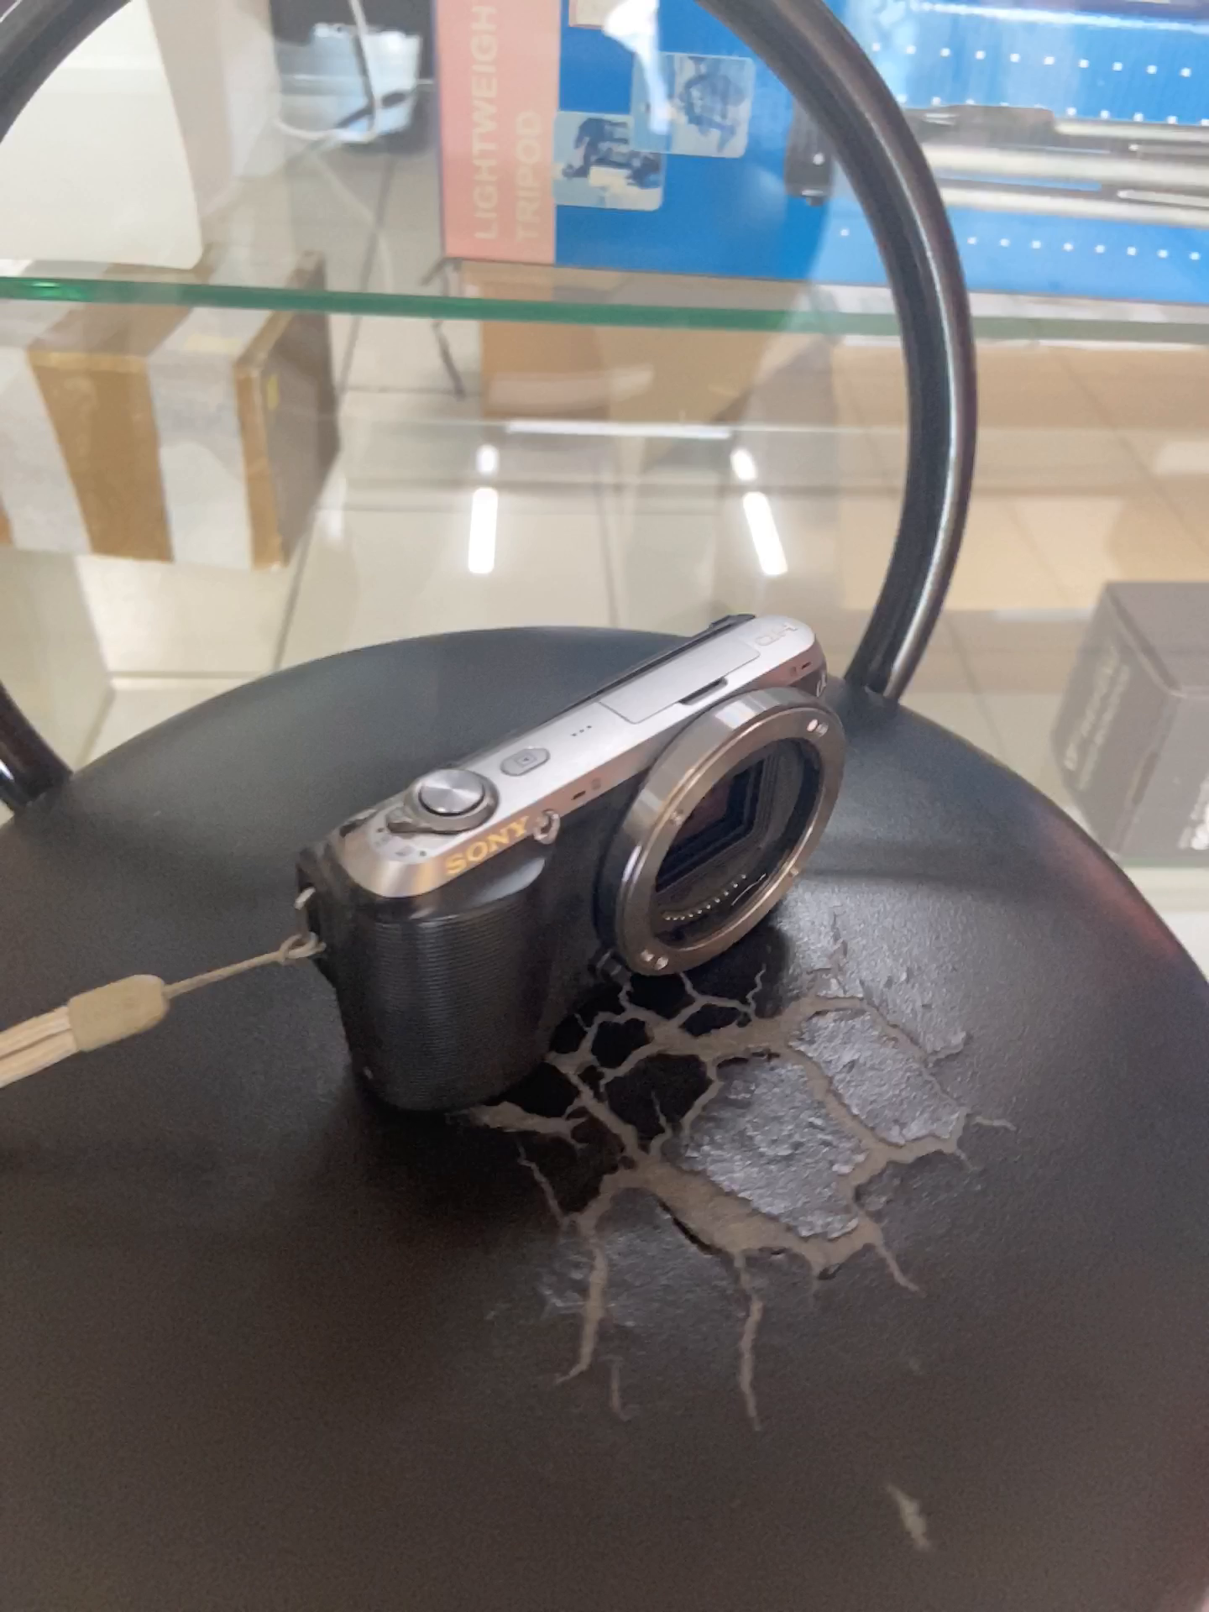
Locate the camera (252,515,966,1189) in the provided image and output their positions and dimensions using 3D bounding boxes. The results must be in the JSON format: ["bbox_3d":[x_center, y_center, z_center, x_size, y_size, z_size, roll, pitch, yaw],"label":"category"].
[{"bbox_3d":[0.006,0.002,0.221,0.120,0.060,0.040,-31,51,-33],"label":"camera"}]
